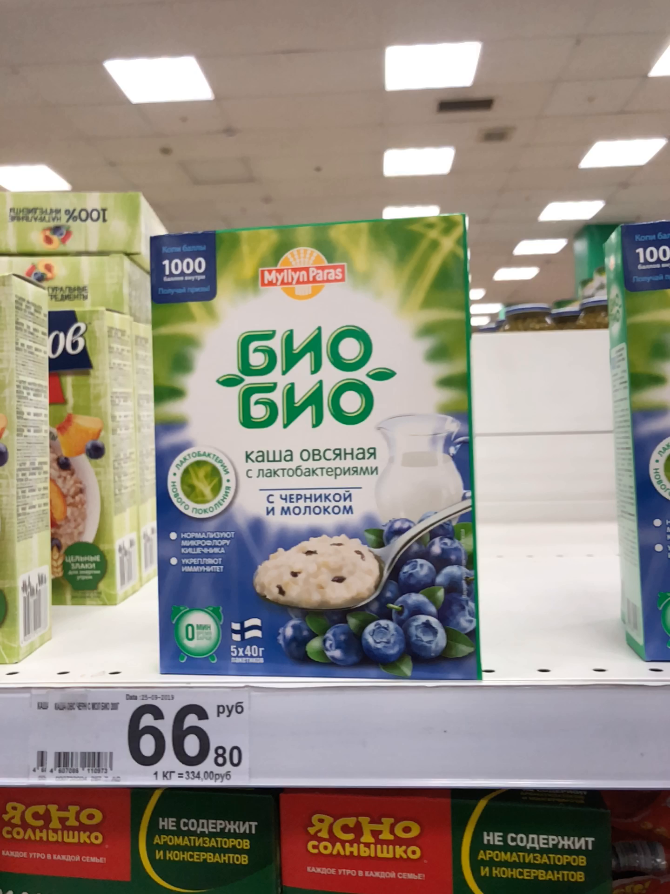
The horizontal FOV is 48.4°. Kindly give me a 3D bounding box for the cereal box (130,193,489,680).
[{"bbox_3d":[-0.012,-0.003,0.353,0.160,0.210,0.040,-1,-2,9],"label":"cereal box"}]
